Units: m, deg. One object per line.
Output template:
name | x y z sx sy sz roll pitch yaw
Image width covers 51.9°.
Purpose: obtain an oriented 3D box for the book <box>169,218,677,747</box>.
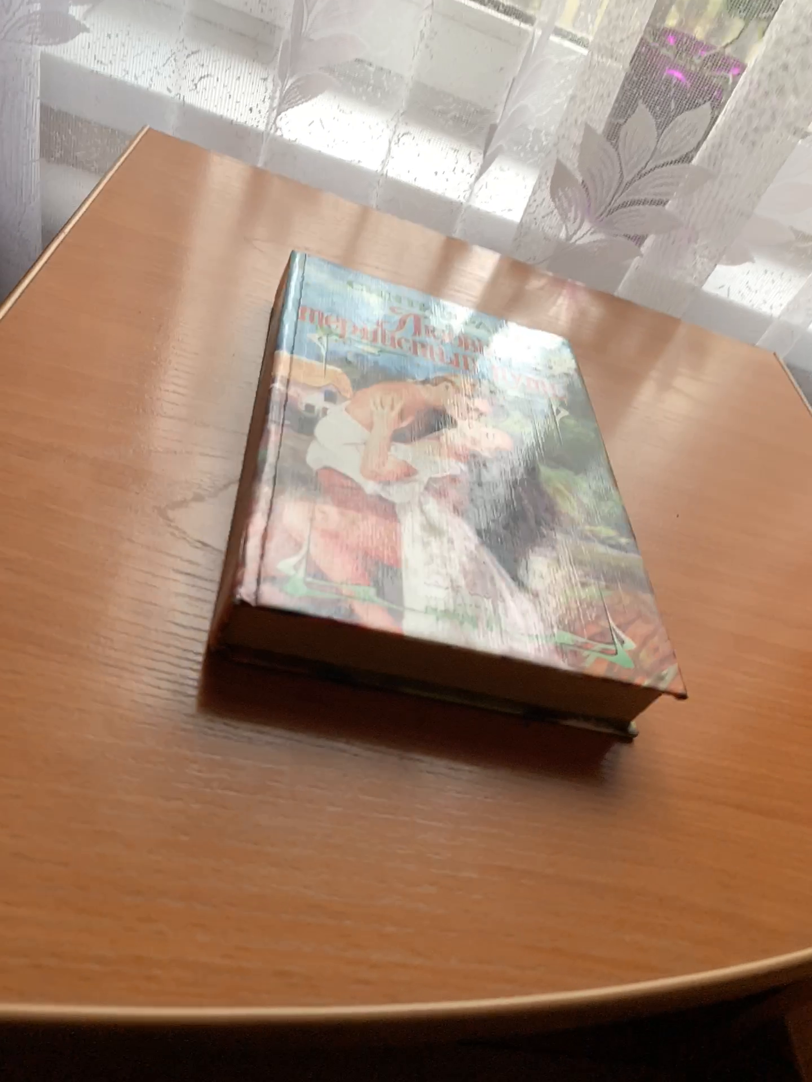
book | 0.007 -0.037 0.308 0.140 0.030 0.212 15 42 -14
